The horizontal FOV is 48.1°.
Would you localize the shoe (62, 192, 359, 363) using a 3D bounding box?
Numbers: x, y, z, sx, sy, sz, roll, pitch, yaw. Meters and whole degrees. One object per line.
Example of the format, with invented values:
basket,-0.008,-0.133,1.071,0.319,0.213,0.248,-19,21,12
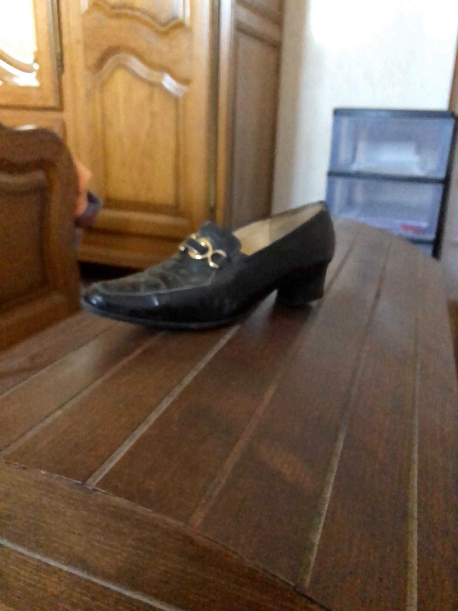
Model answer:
shoe,-0.009,-0.038,0.451,0.241,0.100,0.090,-11,22,-31
